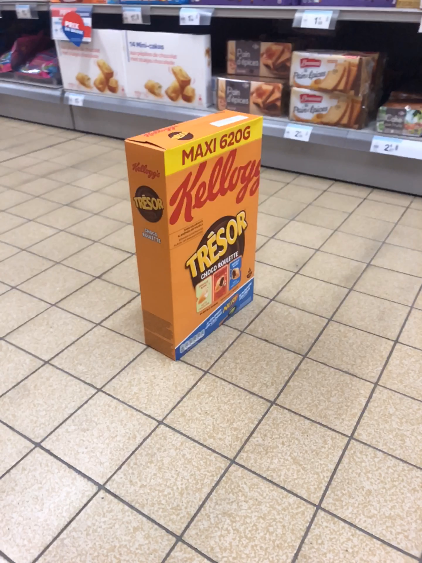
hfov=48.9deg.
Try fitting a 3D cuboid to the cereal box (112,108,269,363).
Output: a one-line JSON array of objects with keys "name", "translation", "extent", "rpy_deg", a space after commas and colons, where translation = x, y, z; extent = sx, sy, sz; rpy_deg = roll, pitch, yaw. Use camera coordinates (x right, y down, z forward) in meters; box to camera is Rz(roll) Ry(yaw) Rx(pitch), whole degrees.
[{"name": "cereal box", "translation": [-0.015, -0.067, 0.643], "extent": [0.070, 0.288, 0.211], "rpy_deg": [23, 39, 33]}]
